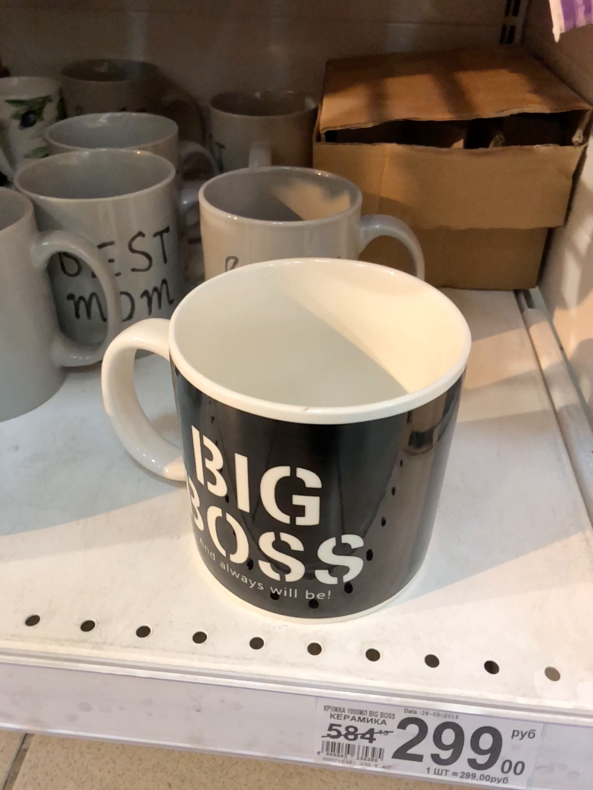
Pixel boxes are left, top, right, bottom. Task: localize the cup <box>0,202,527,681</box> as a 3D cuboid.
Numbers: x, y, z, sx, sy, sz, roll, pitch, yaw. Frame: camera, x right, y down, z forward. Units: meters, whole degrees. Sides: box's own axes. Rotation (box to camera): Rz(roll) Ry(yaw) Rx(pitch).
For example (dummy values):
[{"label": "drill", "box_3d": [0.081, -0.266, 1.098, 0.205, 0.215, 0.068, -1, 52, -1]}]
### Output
[{"label": "cup", "box_3d": [-0.015, 0.005, 0.317, 0.189, 0.122, 0.128, 22, 41, 25]}]
